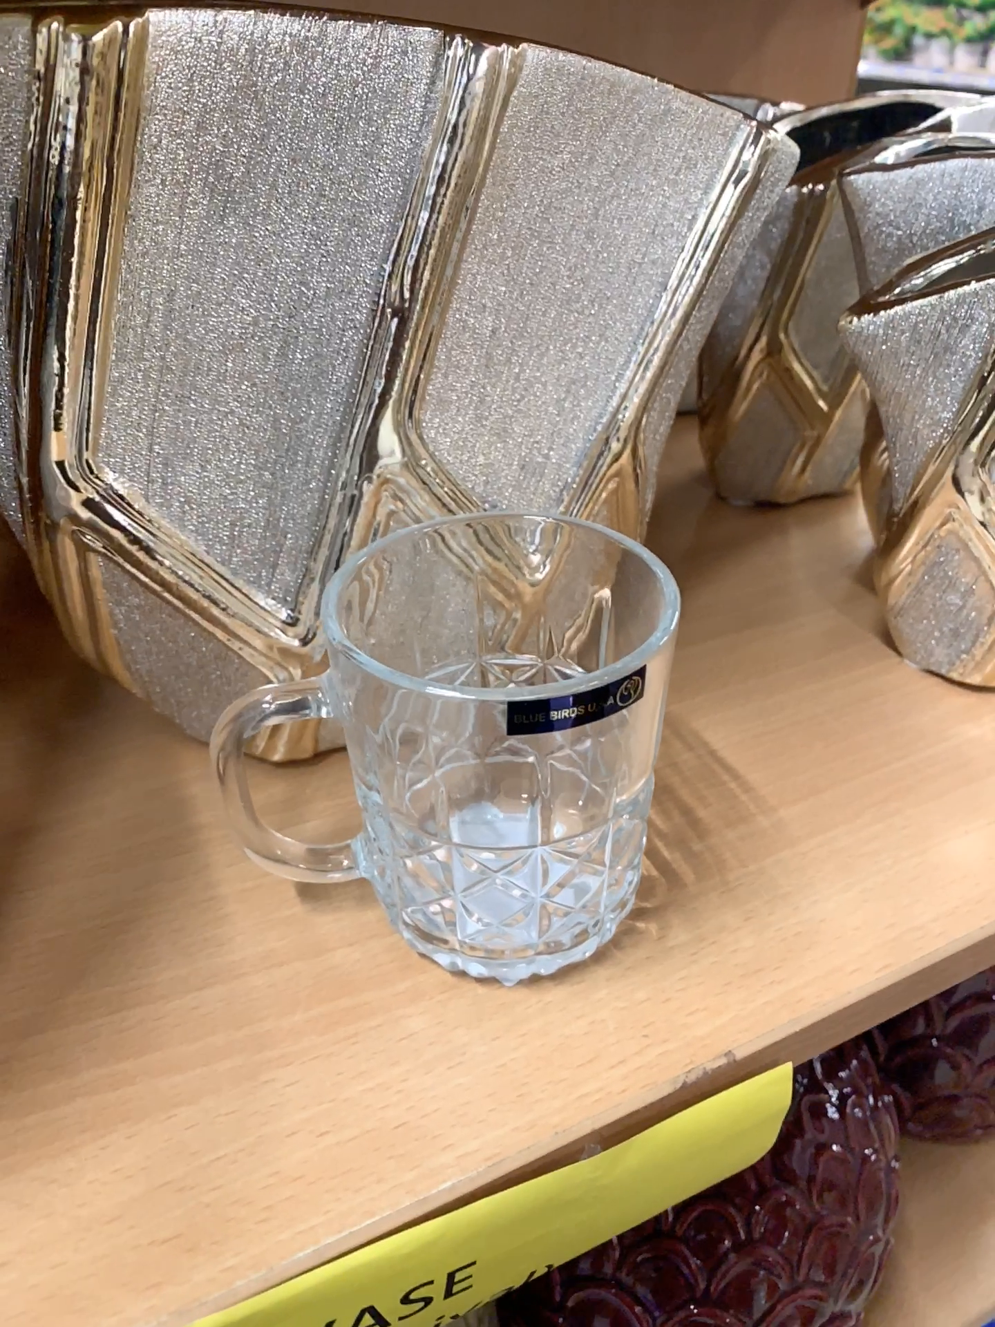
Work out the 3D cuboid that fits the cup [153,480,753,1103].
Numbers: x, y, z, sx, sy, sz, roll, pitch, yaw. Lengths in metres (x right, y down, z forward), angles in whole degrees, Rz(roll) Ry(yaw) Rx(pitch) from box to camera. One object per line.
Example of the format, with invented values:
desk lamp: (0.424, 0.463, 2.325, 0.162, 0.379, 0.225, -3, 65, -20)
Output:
cup: (-0.011, 0.022, 0.229, 0.100, 0.090, 0.070, -14, 35, -19)
